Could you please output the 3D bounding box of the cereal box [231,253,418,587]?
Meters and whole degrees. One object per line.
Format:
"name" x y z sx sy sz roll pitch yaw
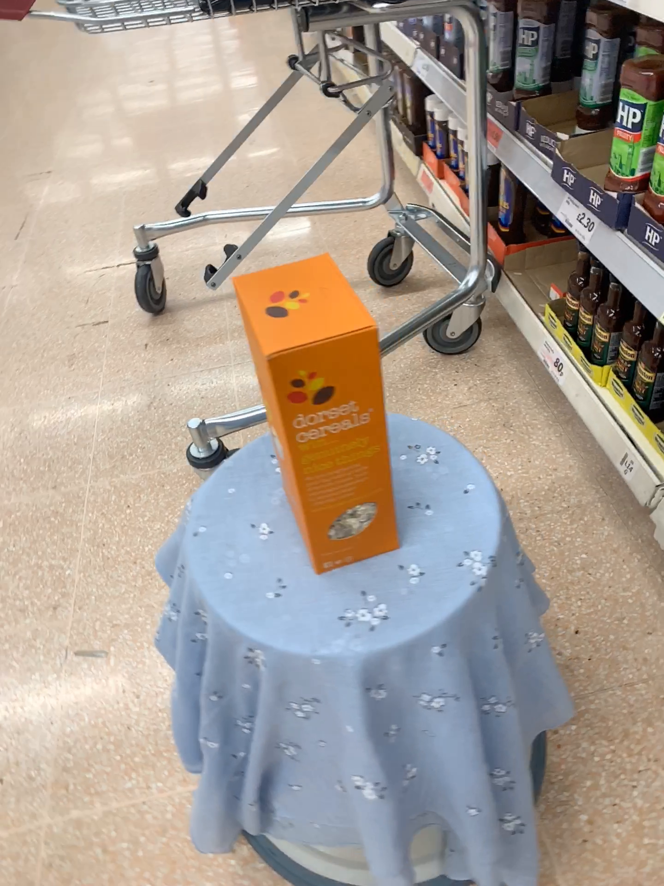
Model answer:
"cereal box" 0.000 -0.012 0.547 0.090 0.228 0.121 -18 43 -9
